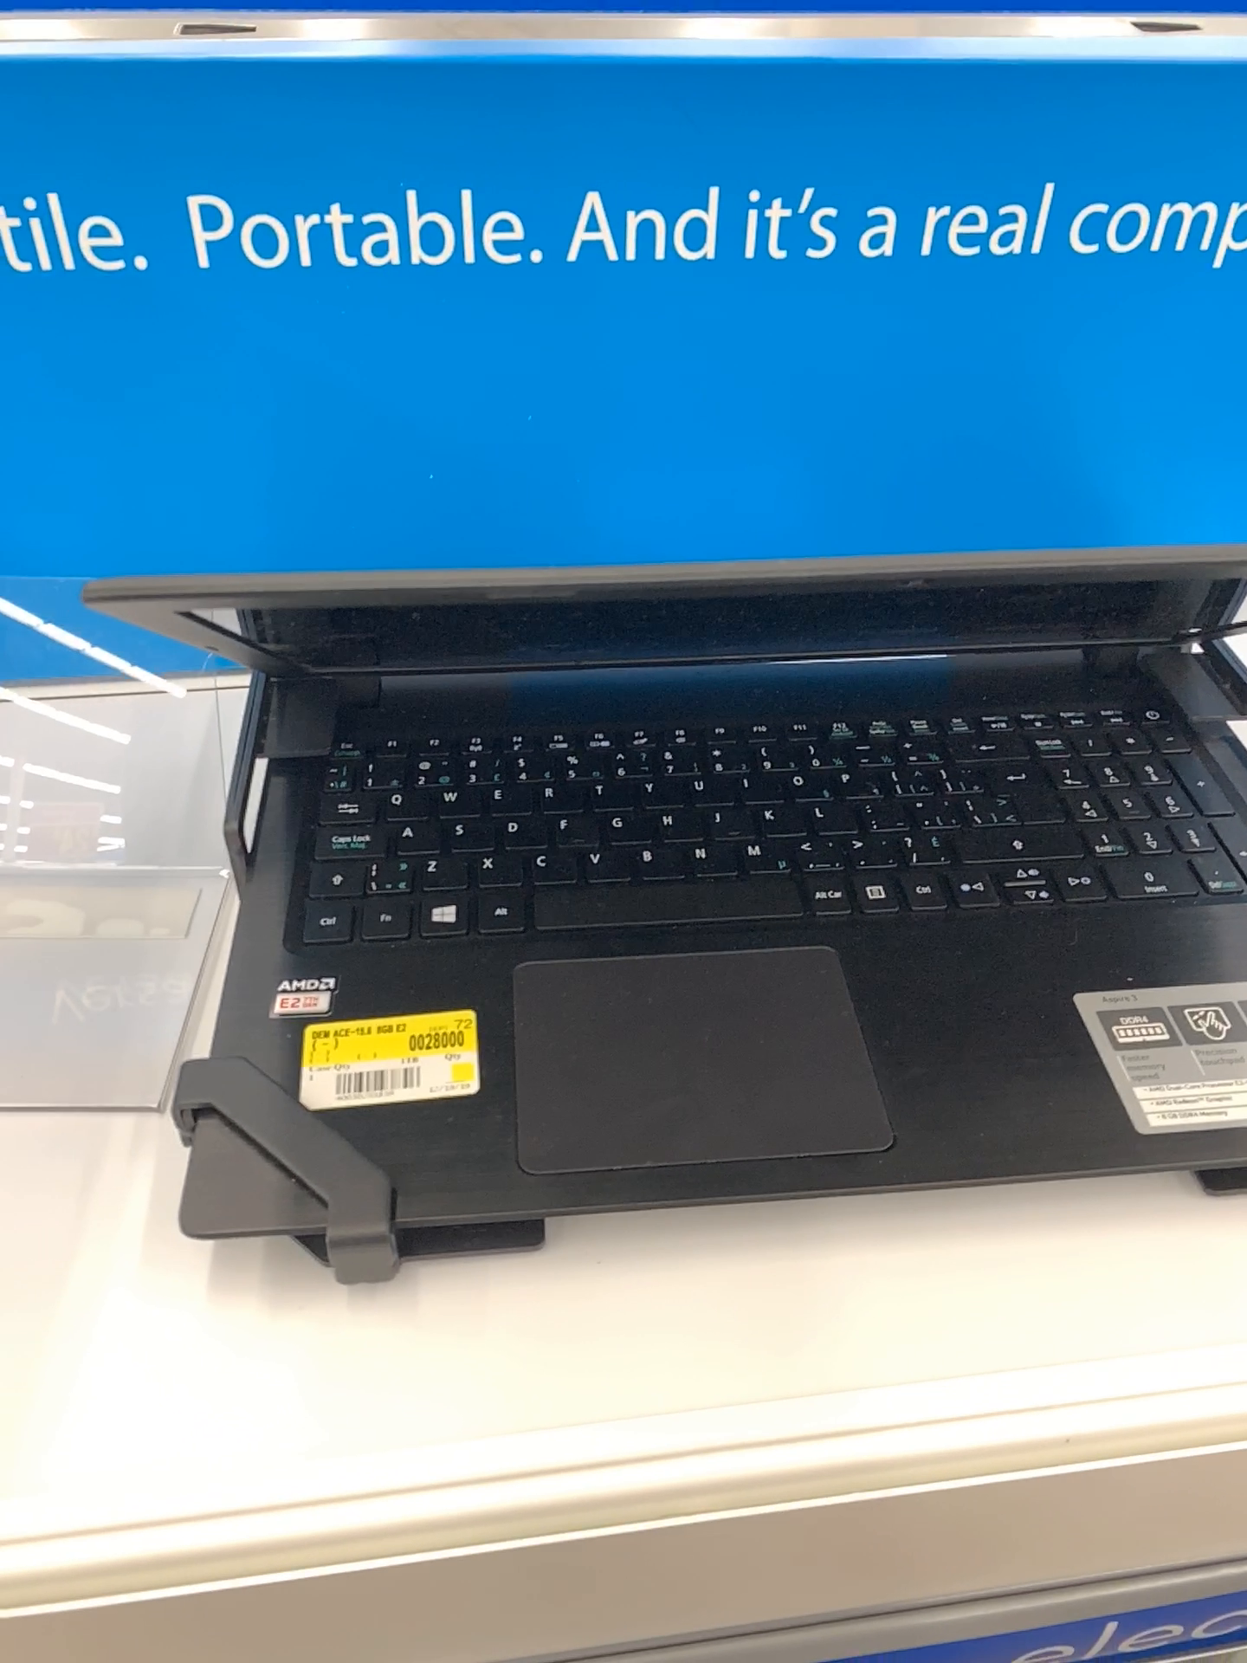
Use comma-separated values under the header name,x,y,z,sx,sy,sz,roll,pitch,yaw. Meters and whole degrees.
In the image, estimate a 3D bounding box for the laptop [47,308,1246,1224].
name,x,y,z,sx,sy,sz,roll,pitch,yaw
laptop,0.061,-0.038,0.380,0.364,0.137,0.222,-2,44,-6
